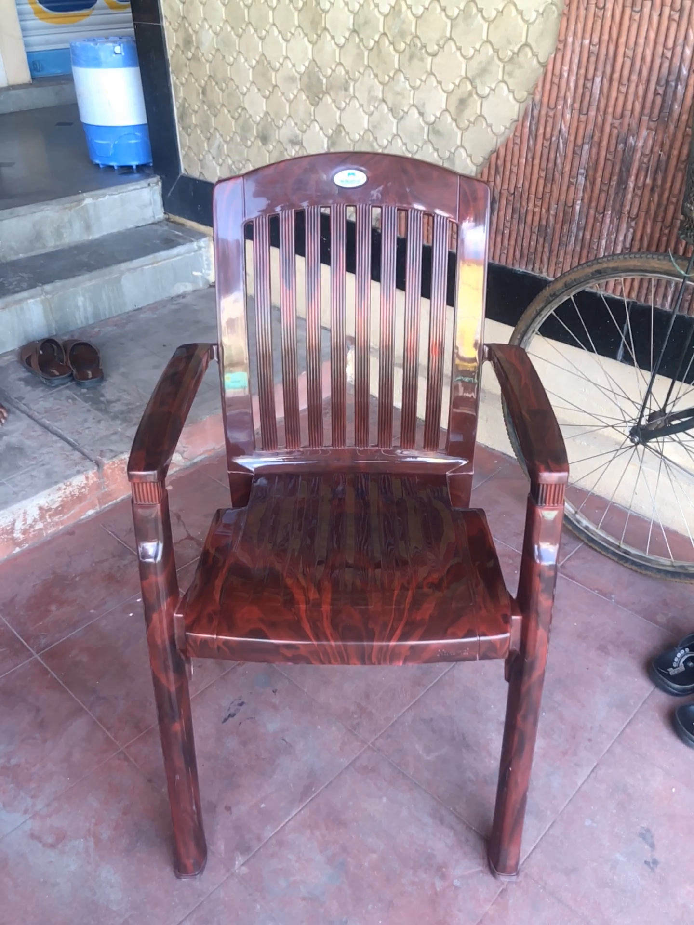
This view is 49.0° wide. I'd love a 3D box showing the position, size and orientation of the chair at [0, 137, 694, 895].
[{"bbox_3d":[-0.002,0.043,1.121,0.590,0.845,0.704,1,33,2],"label":"chair"}]
